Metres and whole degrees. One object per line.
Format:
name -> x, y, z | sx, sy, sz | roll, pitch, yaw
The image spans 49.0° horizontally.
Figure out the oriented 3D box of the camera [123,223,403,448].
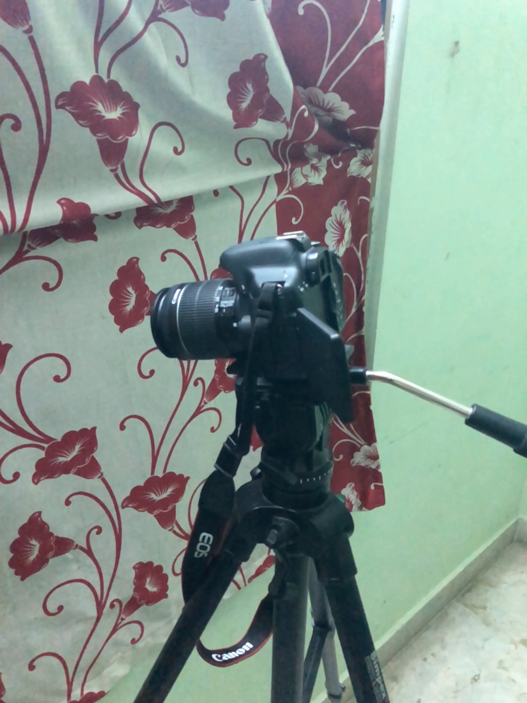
camera -> 0.014, -0.030, 0.436 | 0.140, 0.087, 0.201 | 9, 24, 19
